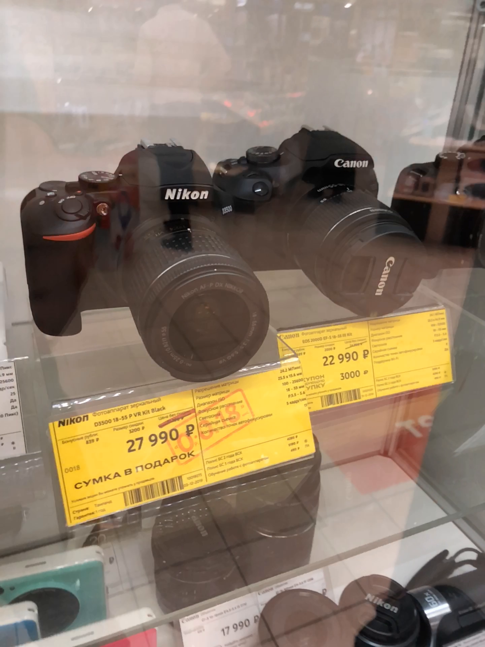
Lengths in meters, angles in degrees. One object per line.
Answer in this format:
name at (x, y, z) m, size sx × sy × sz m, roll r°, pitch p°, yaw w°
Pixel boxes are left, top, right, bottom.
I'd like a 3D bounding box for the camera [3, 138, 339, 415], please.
camera at (-0.045, -0.038, 0.277) m, size 0.130 × 0.092 × 0.121 m, roll -8°, pitch 28°, yaw -23°
